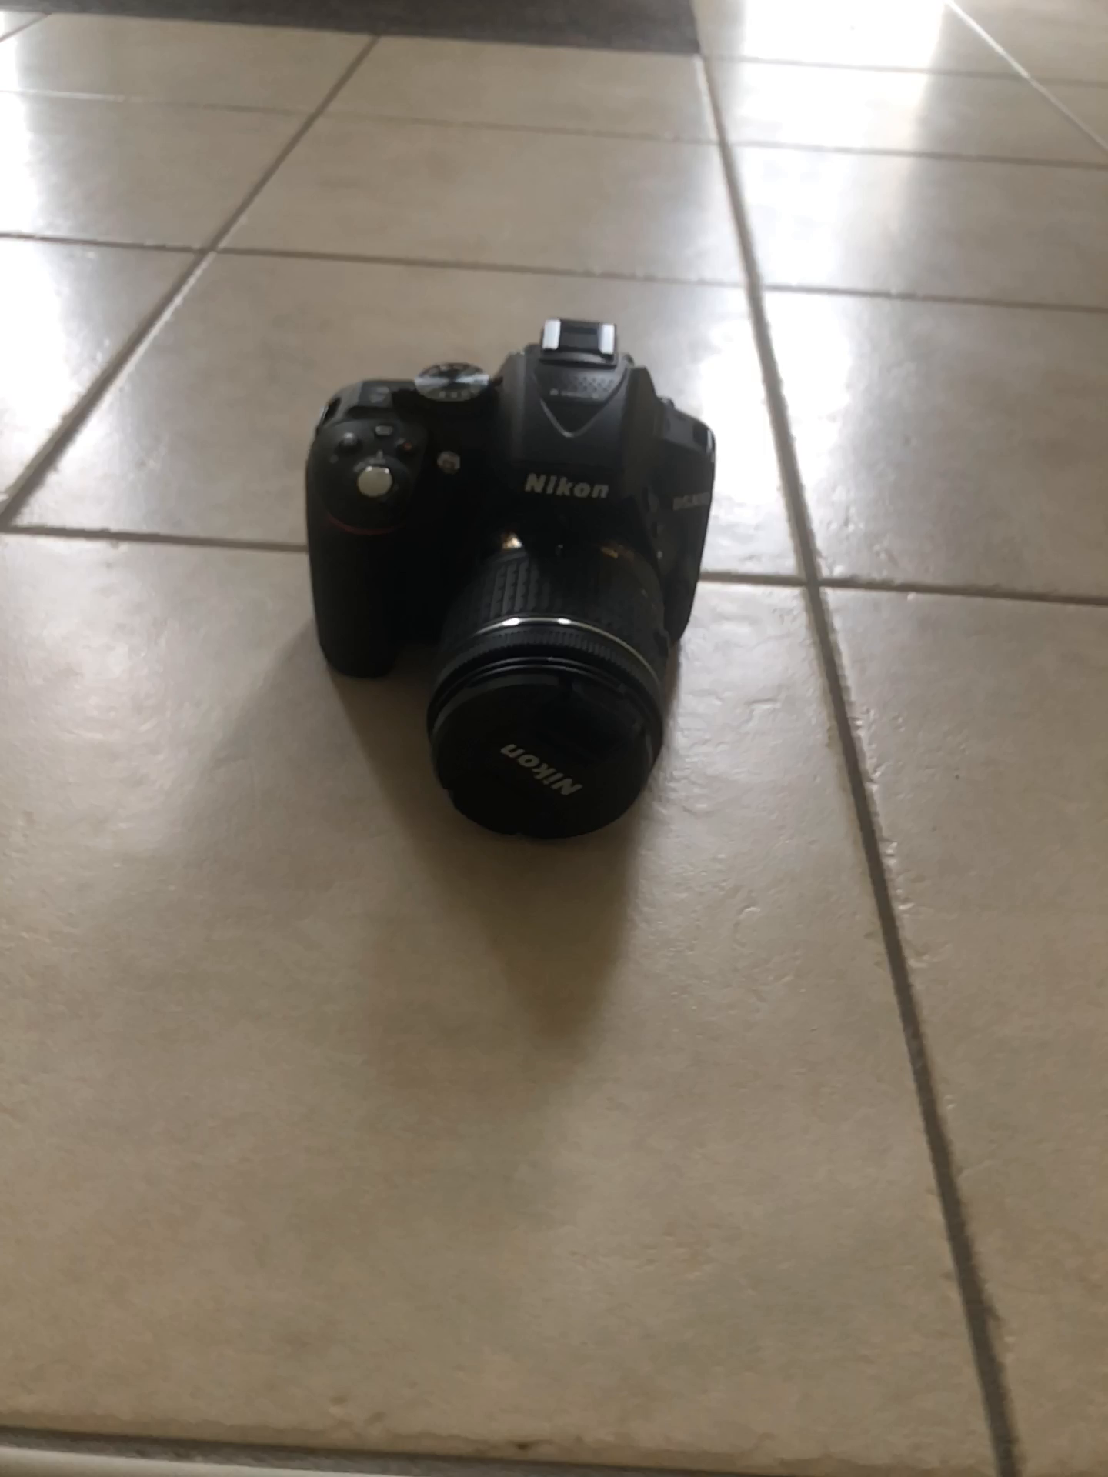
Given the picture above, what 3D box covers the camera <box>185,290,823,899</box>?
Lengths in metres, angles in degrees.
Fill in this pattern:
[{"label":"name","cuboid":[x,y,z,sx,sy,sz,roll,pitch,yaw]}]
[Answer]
[{"label":"camera","cuboid":[-0.008,-0.049,0.359,0.140,0.089,0.161,4,42,1]}]
